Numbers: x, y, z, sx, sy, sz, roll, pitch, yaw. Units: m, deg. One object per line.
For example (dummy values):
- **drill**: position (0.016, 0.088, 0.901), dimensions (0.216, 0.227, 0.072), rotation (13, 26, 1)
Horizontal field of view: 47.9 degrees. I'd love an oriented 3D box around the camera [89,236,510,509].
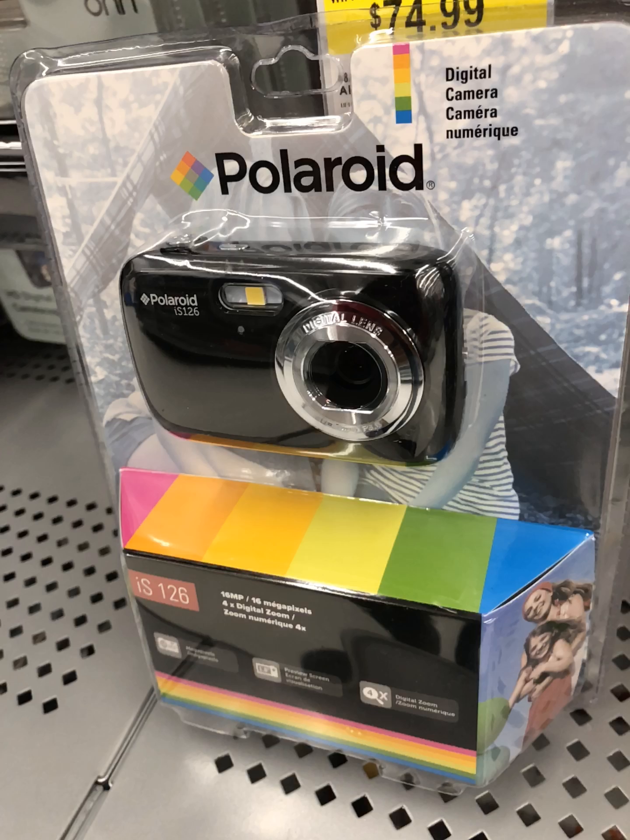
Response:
- **camera**: position (-0.001, -0.015, 0.192), dimensions (0.100, 0.060, 0.030), rotation (6, 40, 20)
